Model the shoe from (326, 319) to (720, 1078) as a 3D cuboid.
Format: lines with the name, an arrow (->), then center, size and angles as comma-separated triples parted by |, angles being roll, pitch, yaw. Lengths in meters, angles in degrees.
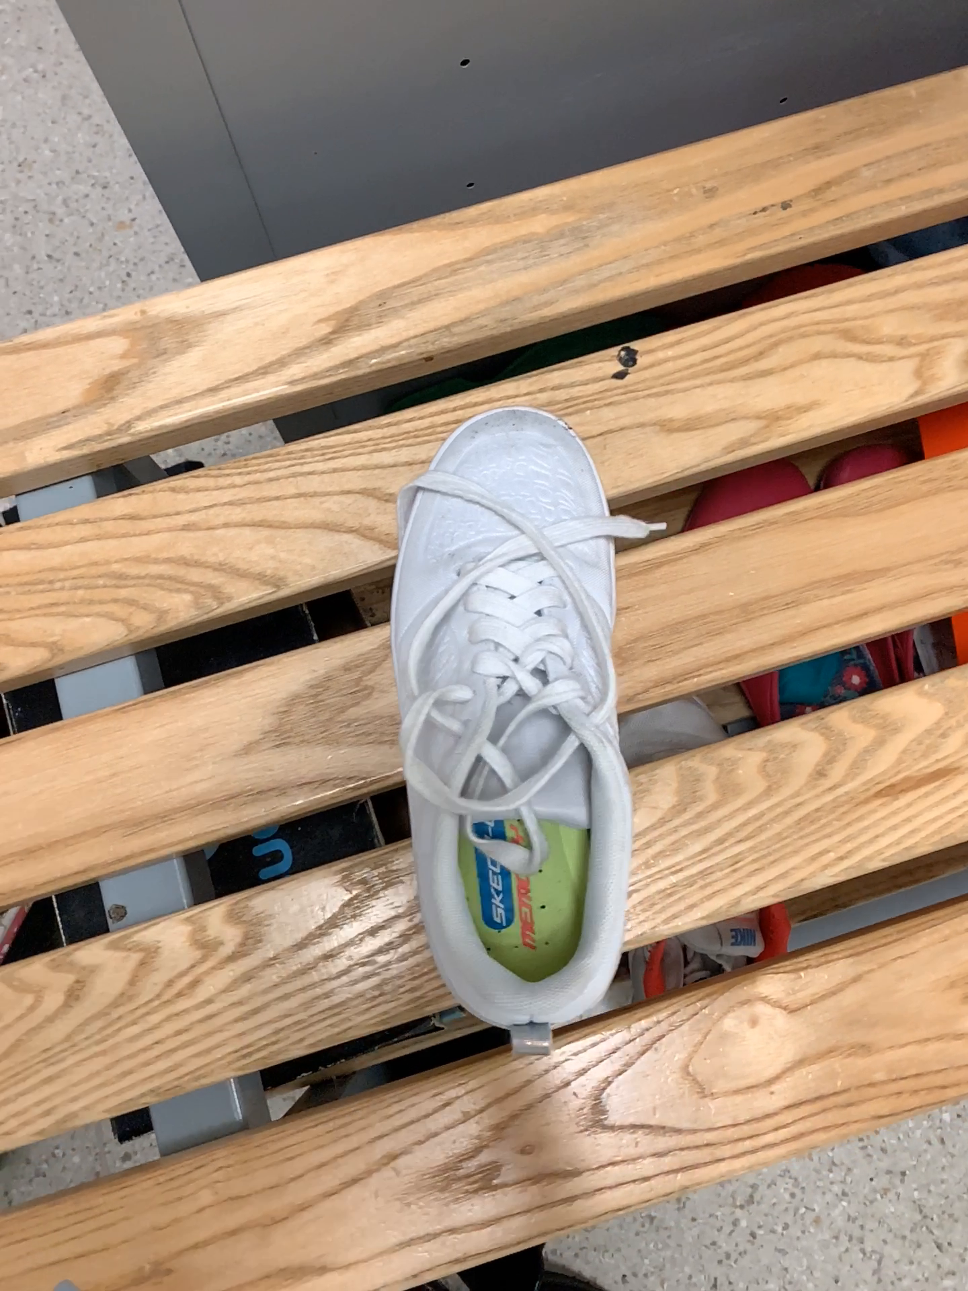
shoe -> 0.009, 0.015, 0.374 | 0.099, 0.076, 0.250 | -8, 77, 0
